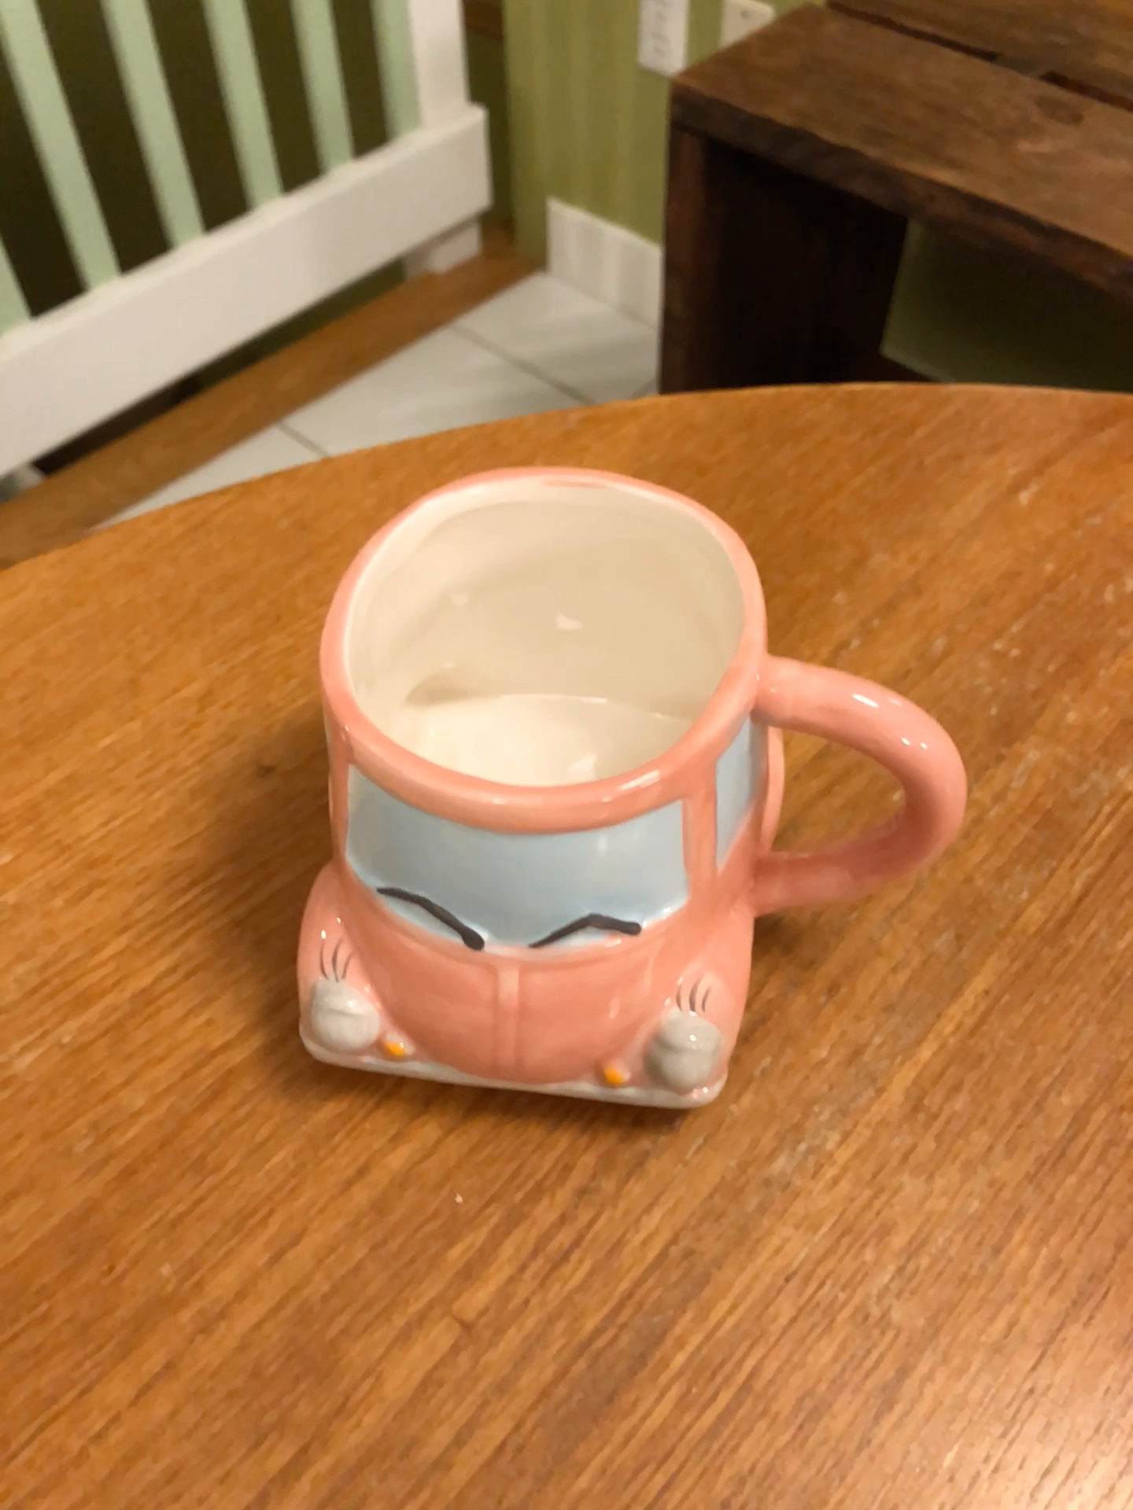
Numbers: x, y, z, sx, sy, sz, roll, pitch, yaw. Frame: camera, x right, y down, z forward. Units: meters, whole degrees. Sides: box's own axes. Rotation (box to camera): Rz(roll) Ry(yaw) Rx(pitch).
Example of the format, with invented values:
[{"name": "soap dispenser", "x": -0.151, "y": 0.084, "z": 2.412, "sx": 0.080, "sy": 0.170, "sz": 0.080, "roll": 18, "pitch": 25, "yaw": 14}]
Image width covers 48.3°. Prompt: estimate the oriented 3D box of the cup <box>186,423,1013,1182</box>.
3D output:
[{"name": "cup", "x": 0.013, "y": 0.008, "z": 0.288, "sx": 0.139, "sy": 0.097, "sz": 0.128, "roll": -1, "pitch": 51, "yaw": 1}]
